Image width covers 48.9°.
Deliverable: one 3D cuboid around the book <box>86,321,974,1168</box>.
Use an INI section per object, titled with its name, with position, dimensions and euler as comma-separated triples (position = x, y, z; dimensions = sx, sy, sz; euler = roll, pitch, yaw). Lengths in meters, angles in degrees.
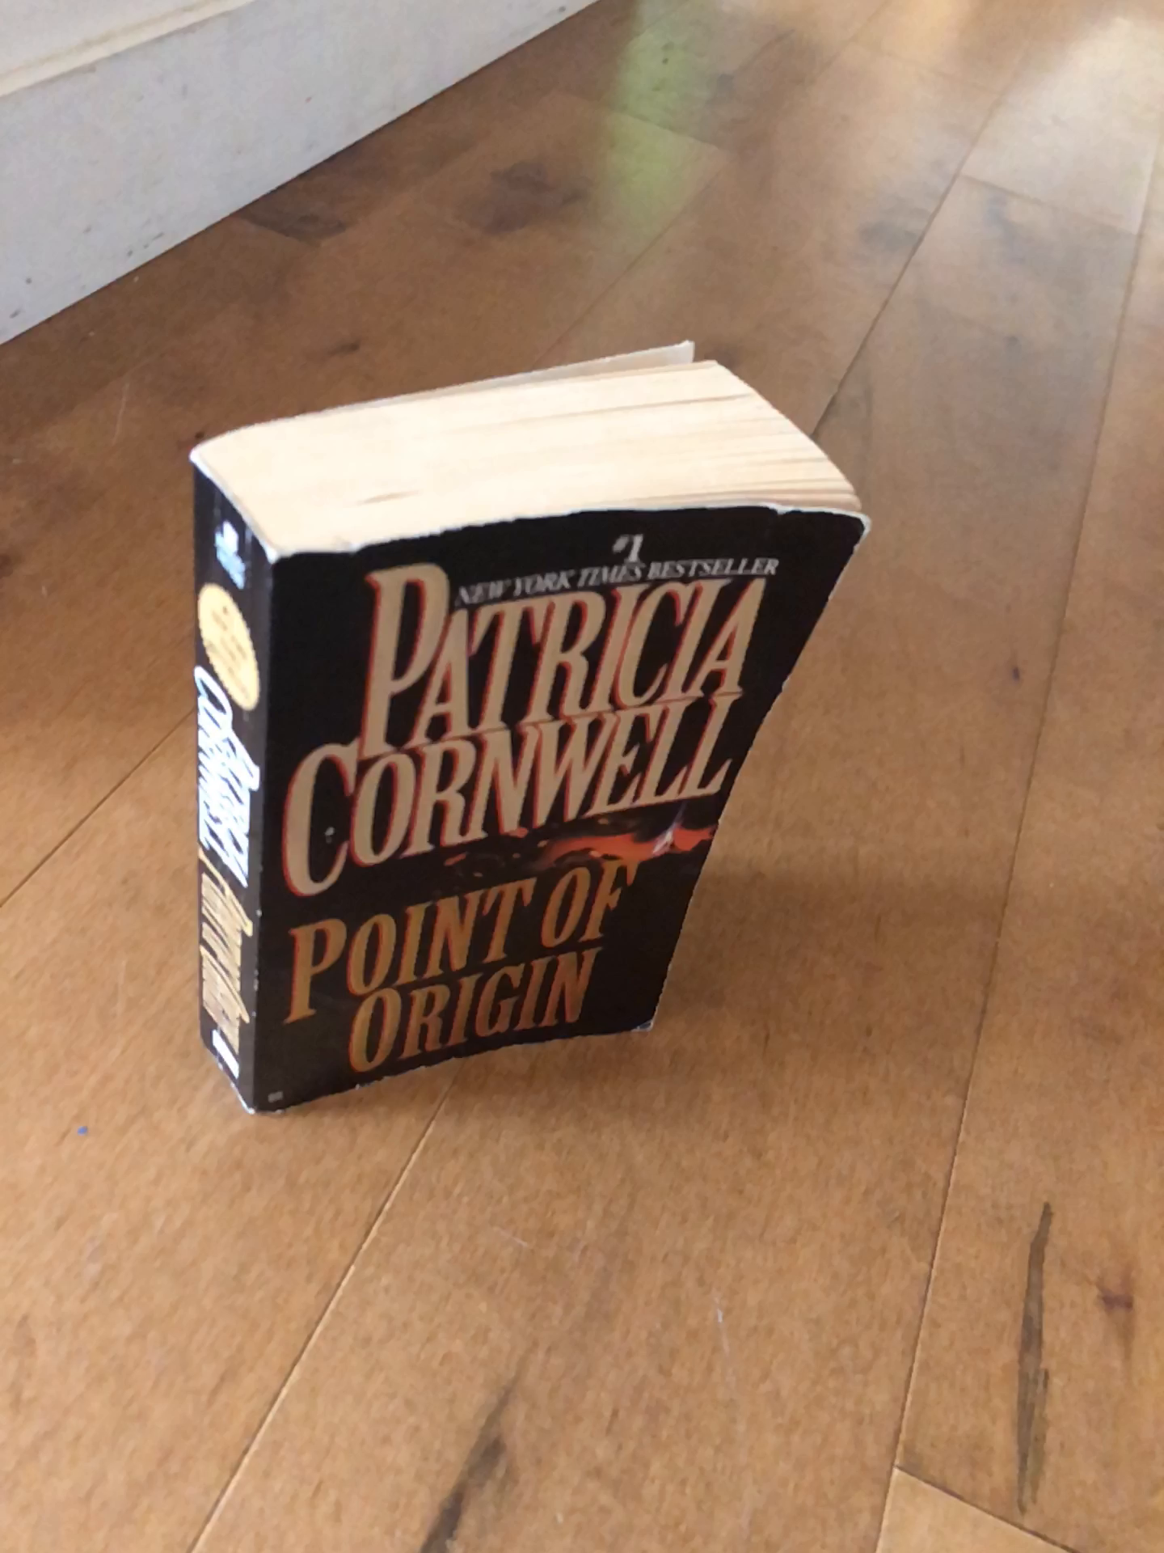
[book]
position = -0.019, -0.001, 0.256
dimensions = 0.130, 0.159, 0.050
euler = -14, 55, -26
